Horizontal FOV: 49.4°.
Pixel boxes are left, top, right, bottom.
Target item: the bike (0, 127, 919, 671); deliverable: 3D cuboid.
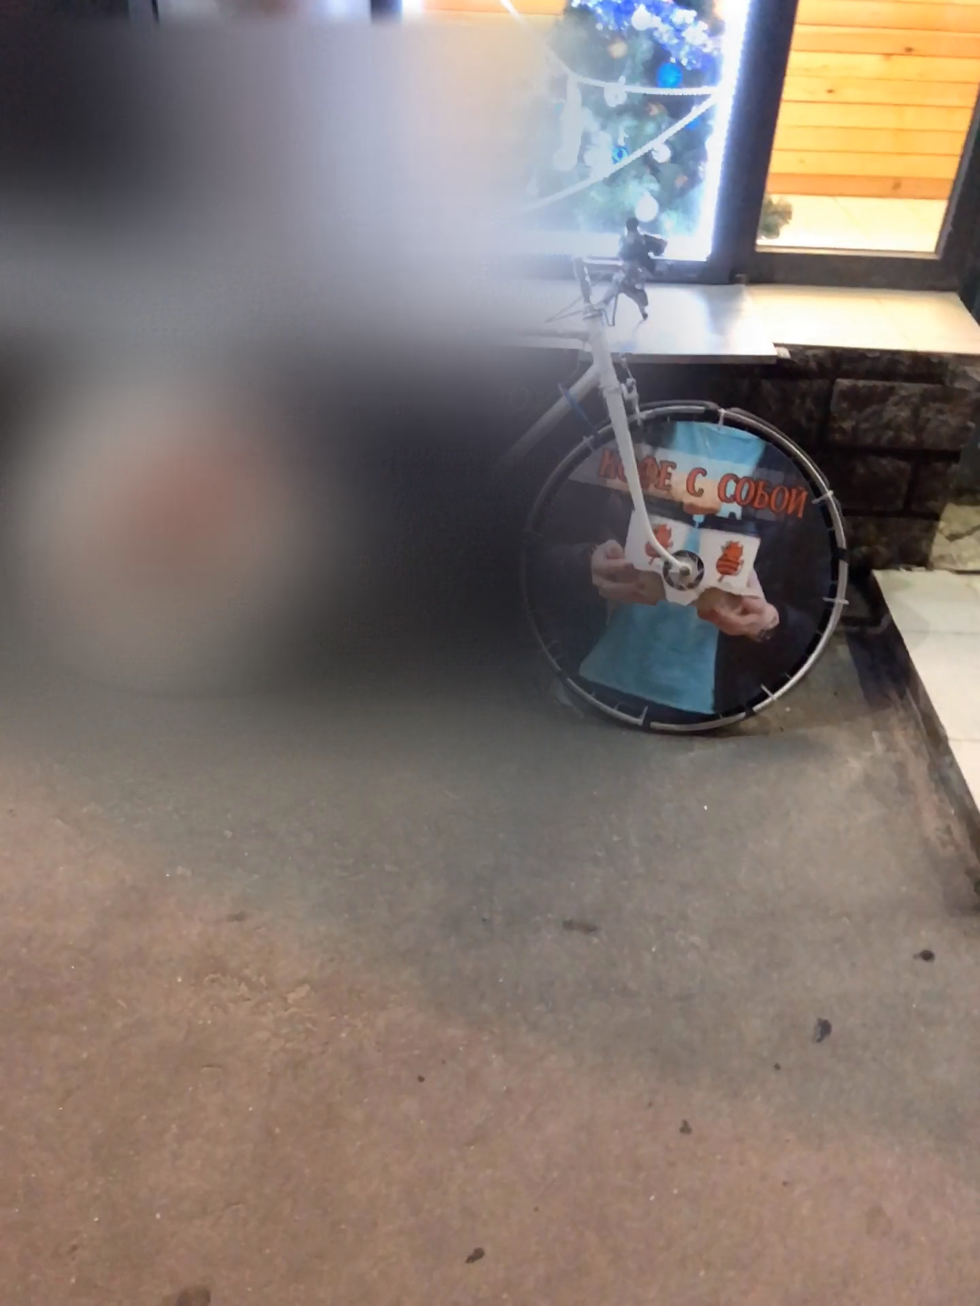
[{"bbox_3d":[-0.079,-0.528,2.227,1.585,0.917,0.572,3,36,2],"label":"bike"}]
